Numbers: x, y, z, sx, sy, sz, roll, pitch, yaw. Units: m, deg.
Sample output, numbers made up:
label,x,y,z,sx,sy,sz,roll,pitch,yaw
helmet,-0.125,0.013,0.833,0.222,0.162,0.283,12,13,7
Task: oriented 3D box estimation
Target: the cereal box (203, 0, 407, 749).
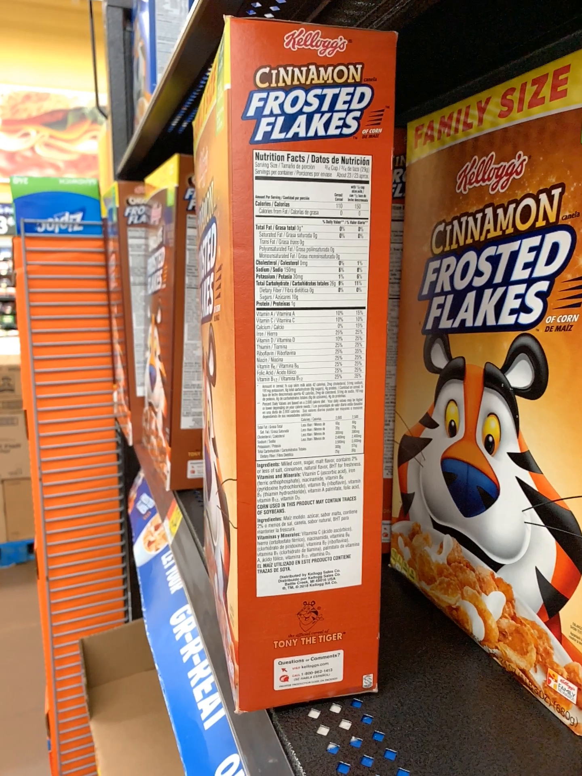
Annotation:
label,x,y,z,sx,sy,sz,roll,pitch,yaw
cereal box,-0.011,-0.009,0.377,0.070,0.339,0.211,-1,10,-12
